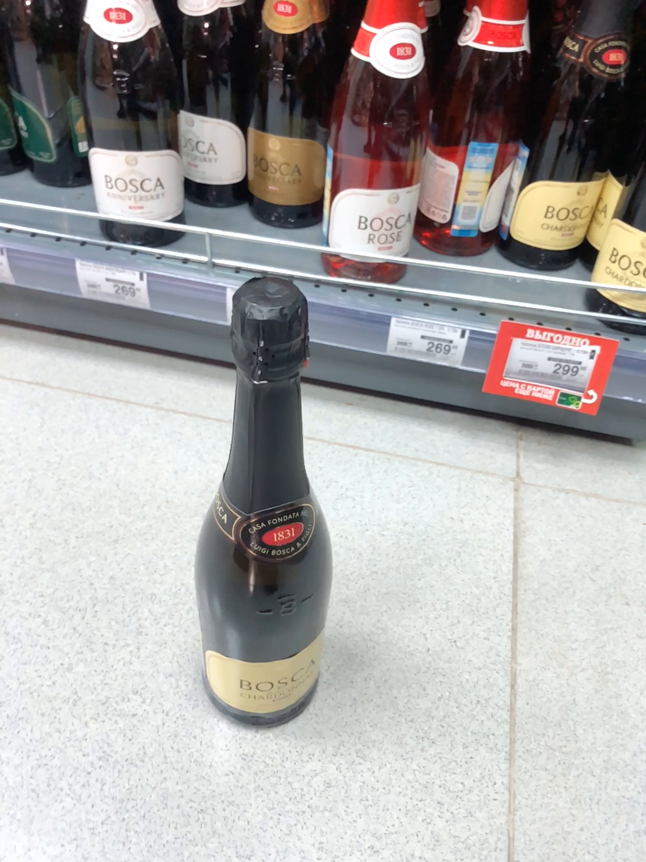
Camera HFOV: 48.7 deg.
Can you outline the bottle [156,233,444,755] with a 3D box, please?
[{"bbox_3d":[-0.024,0.058,0.394,0.100,0.311,0.090,-7,44,-13],"label":"bottle"}]
